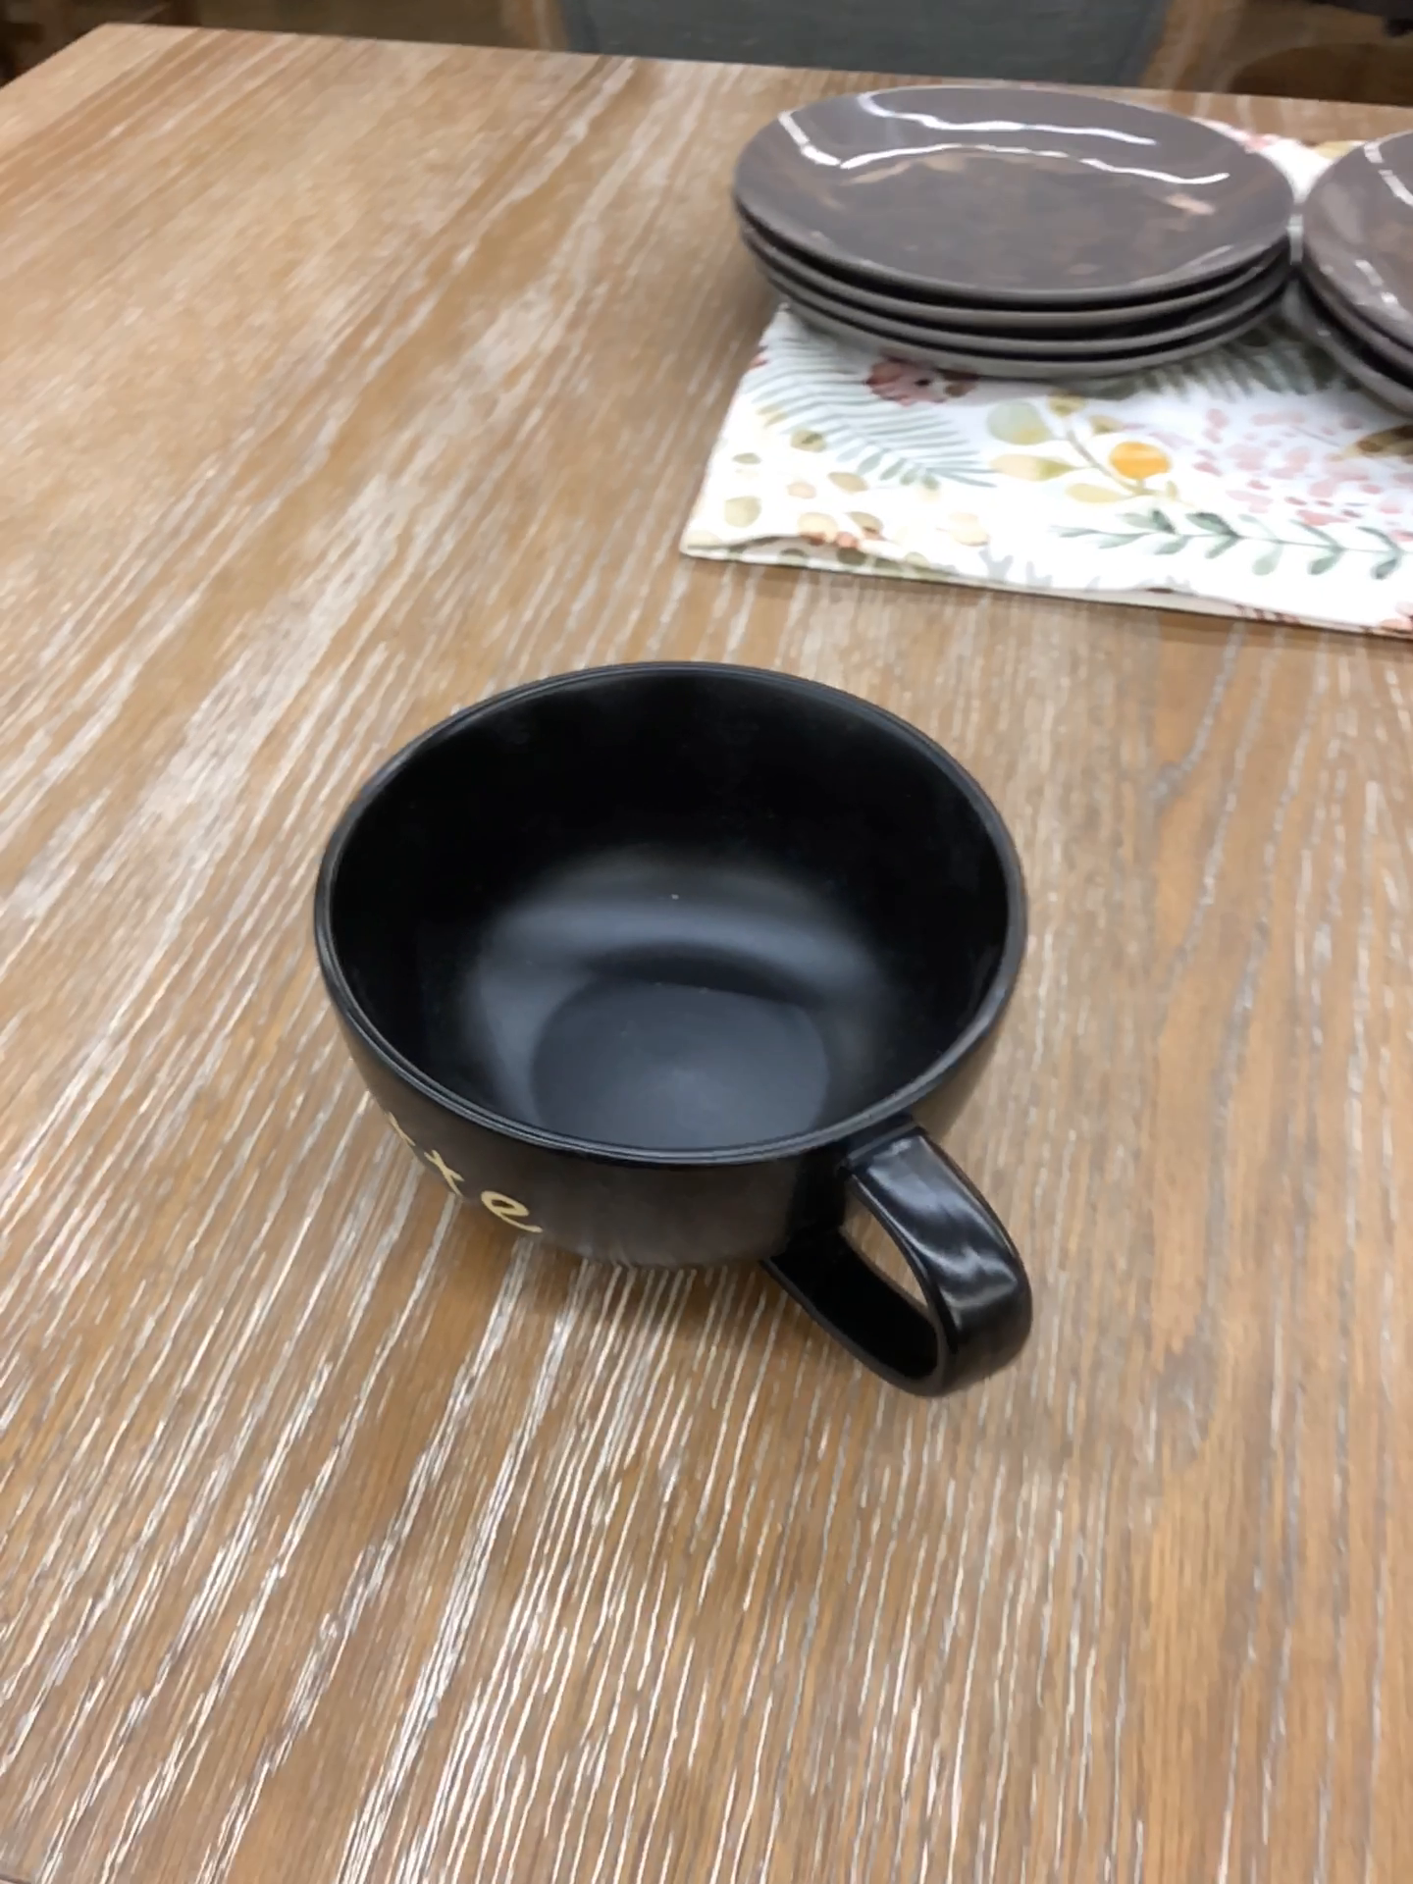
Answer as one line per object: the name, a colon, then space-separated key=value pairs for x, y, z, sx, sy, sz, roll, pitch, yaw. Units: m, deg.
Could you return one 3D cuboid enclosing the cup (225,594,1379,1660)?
cup: x=0.007 y=0.016 z=0.307 sx=0.137 sy=0.054 sz=0.175 roll=-23 pitch=49 yaw=-22
